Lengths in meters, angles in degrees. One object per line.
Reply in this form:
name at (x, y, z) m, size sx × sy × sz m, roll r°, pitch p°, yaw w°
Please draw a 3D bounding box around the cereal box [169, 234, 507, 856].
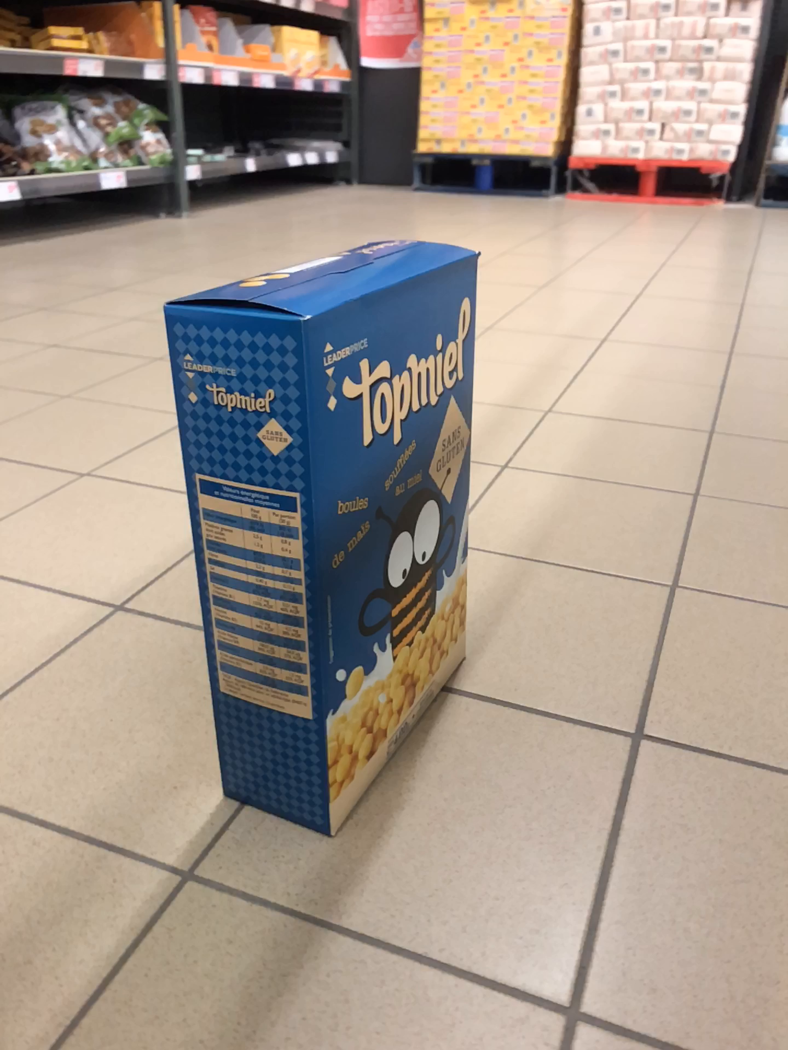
cereal box at (-0.017, -0.003, 0.484) m, size 0.080 × 0.279 × 0.201 m, roll 12°, pitch 28°, yaw 22°
